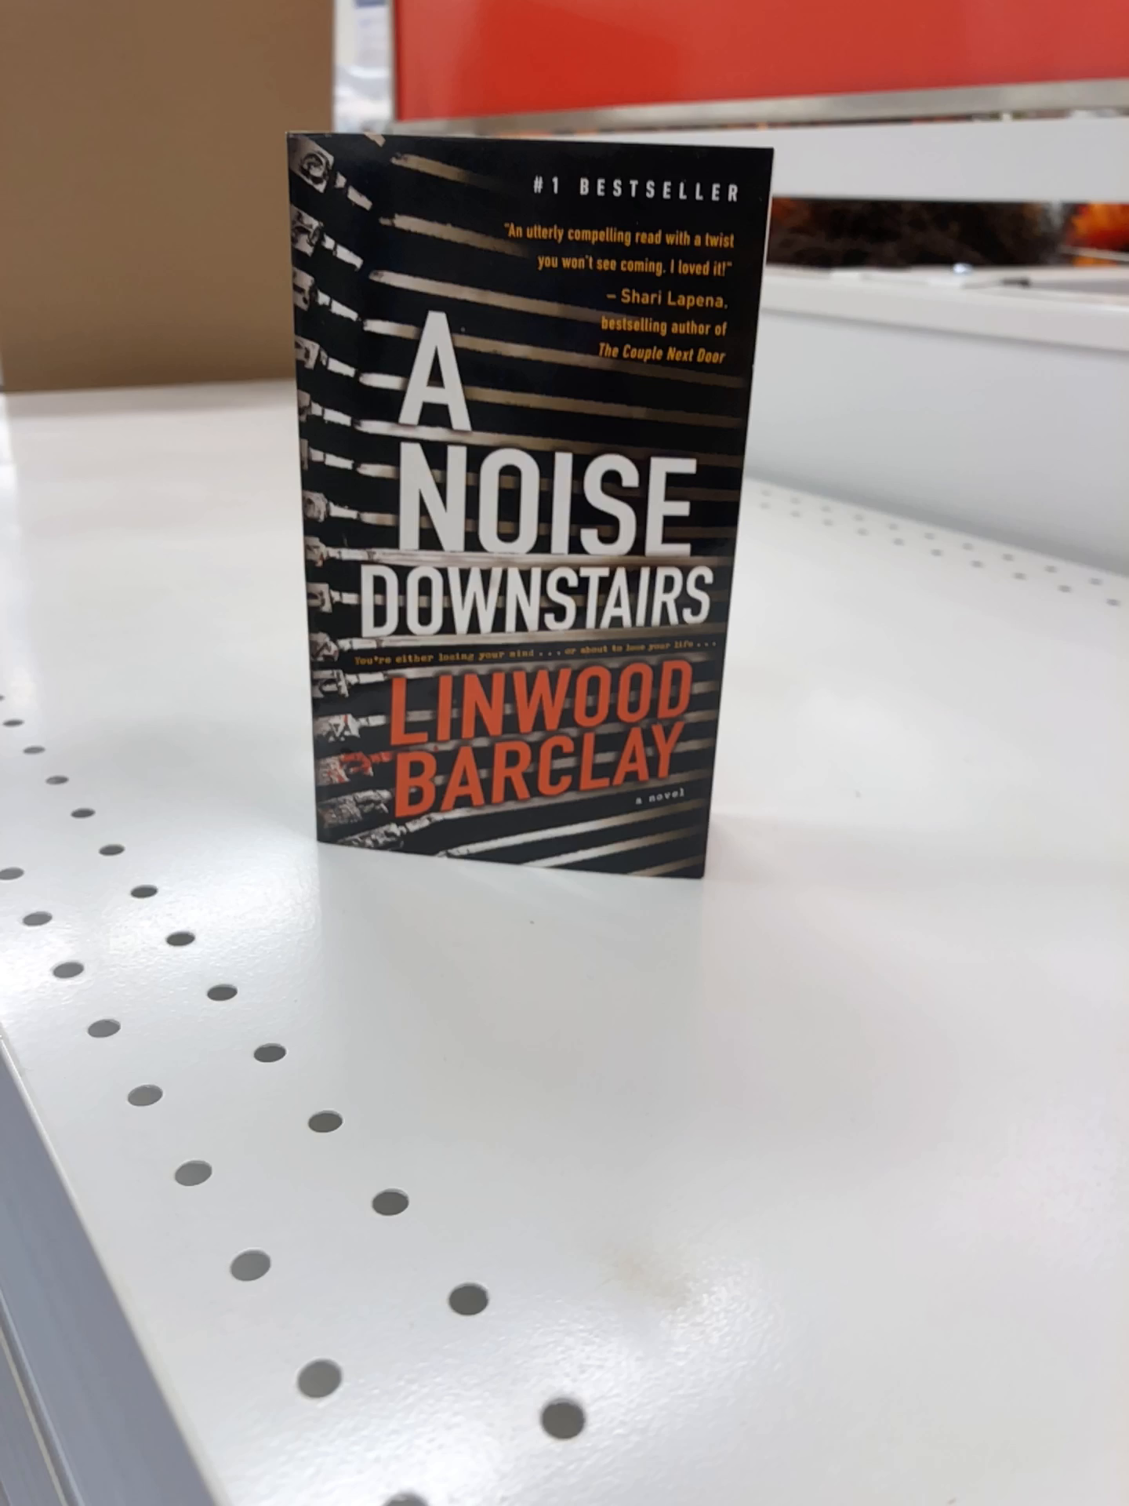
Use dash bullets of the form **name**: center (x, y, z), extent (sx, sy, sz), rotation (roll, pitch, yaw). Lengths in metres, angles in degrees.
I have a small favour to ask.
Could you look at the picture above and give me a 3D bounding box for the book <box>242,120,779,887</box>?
- **book**: center (-0.011, -0.057, 0.308), extent (0.110, 0.170, 0.041), rotation (5, 24, 9)
